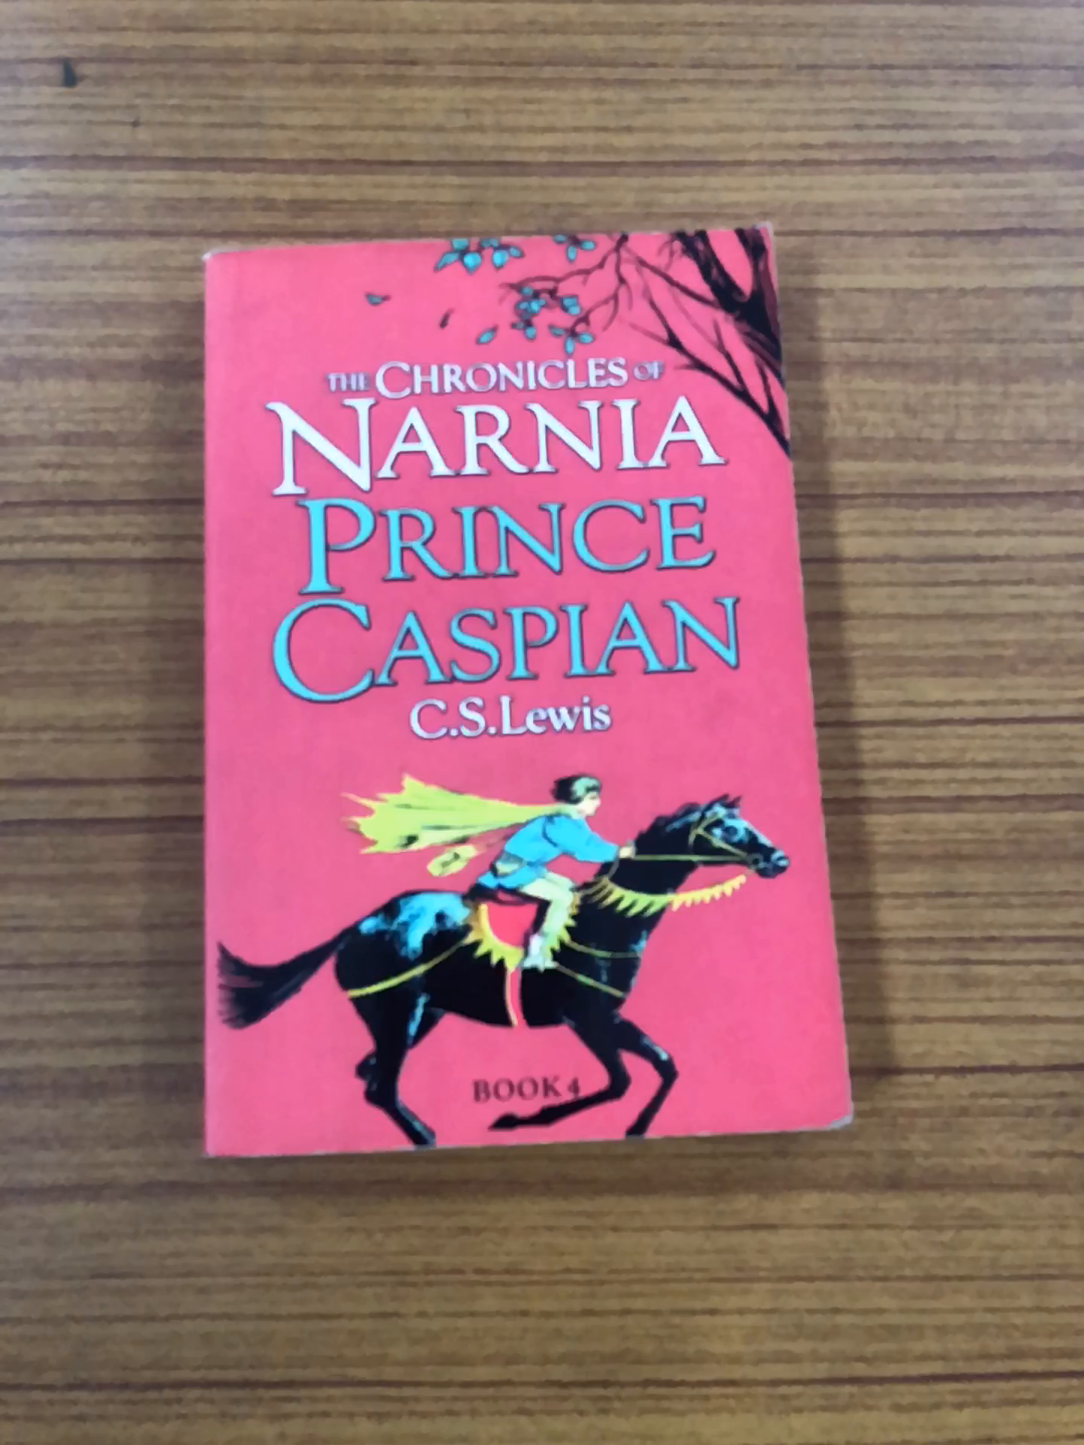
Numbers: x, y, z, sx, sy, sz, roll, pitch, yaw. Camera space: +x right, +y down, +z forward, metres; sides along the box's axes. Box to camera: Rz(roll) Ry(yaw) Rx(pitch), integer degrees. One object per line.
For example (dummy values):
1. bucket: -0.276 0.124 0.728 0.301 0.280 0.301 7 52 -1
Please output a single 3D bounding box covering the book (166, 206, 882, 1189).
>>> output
1. book: -0.007 -0.009 0.247 0.130 0.030 0.190 -2 81 -1
